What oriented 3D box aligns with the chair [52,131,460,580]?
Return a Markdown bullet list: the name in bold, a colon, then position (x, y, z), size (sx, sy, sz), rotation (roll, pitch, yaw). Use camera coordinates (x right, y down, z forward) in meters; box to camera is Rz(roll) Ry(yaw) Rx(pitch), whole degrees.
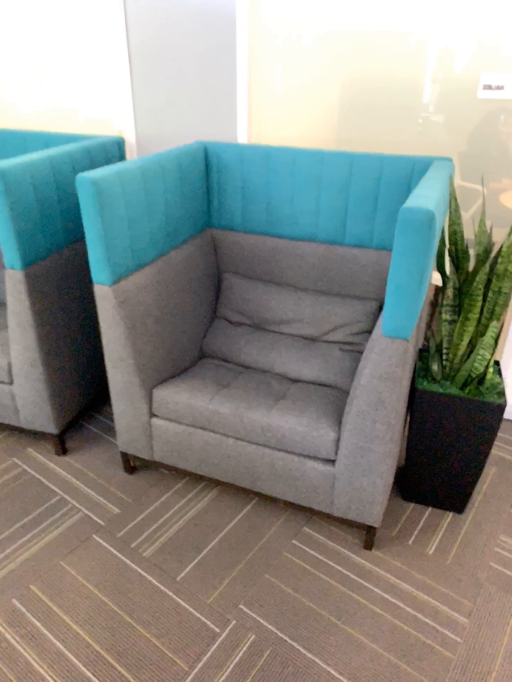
- **chair**: position (0.090, -0.071, 1.998), size (1.052, 1.213, 1.014), rotation (11, 30, 18)
